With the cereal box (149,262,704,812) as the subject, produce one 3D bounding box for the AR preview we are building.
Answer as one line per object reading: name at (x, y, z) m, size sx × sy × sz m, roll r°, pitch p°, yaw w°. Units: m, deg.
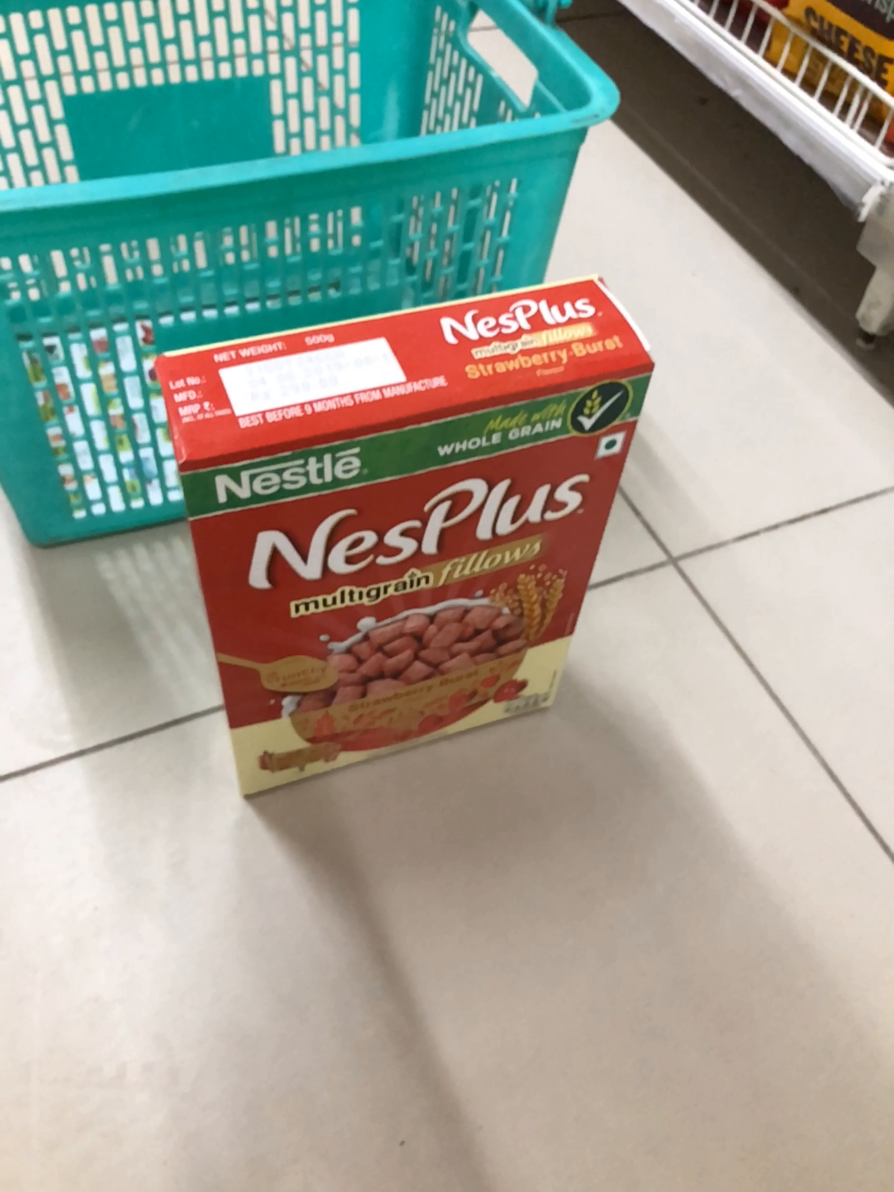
cereal box at (-0.015, -0.011, 0.458) m, size 0.190 × 0.258 × 0.060 m, roll -14°, pitch 55°, yaw -16°
